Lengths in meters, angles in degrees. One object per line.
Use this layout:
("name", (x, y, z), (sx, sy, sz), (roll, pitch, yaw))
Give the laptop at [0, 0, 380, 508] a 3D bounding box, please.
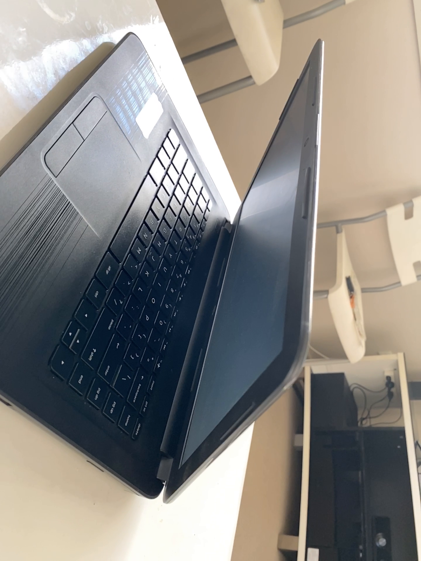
("laptop", (0.013, -0.051, 0.326), (0.226, 0.154, 0.336), (59, 32, -38))
